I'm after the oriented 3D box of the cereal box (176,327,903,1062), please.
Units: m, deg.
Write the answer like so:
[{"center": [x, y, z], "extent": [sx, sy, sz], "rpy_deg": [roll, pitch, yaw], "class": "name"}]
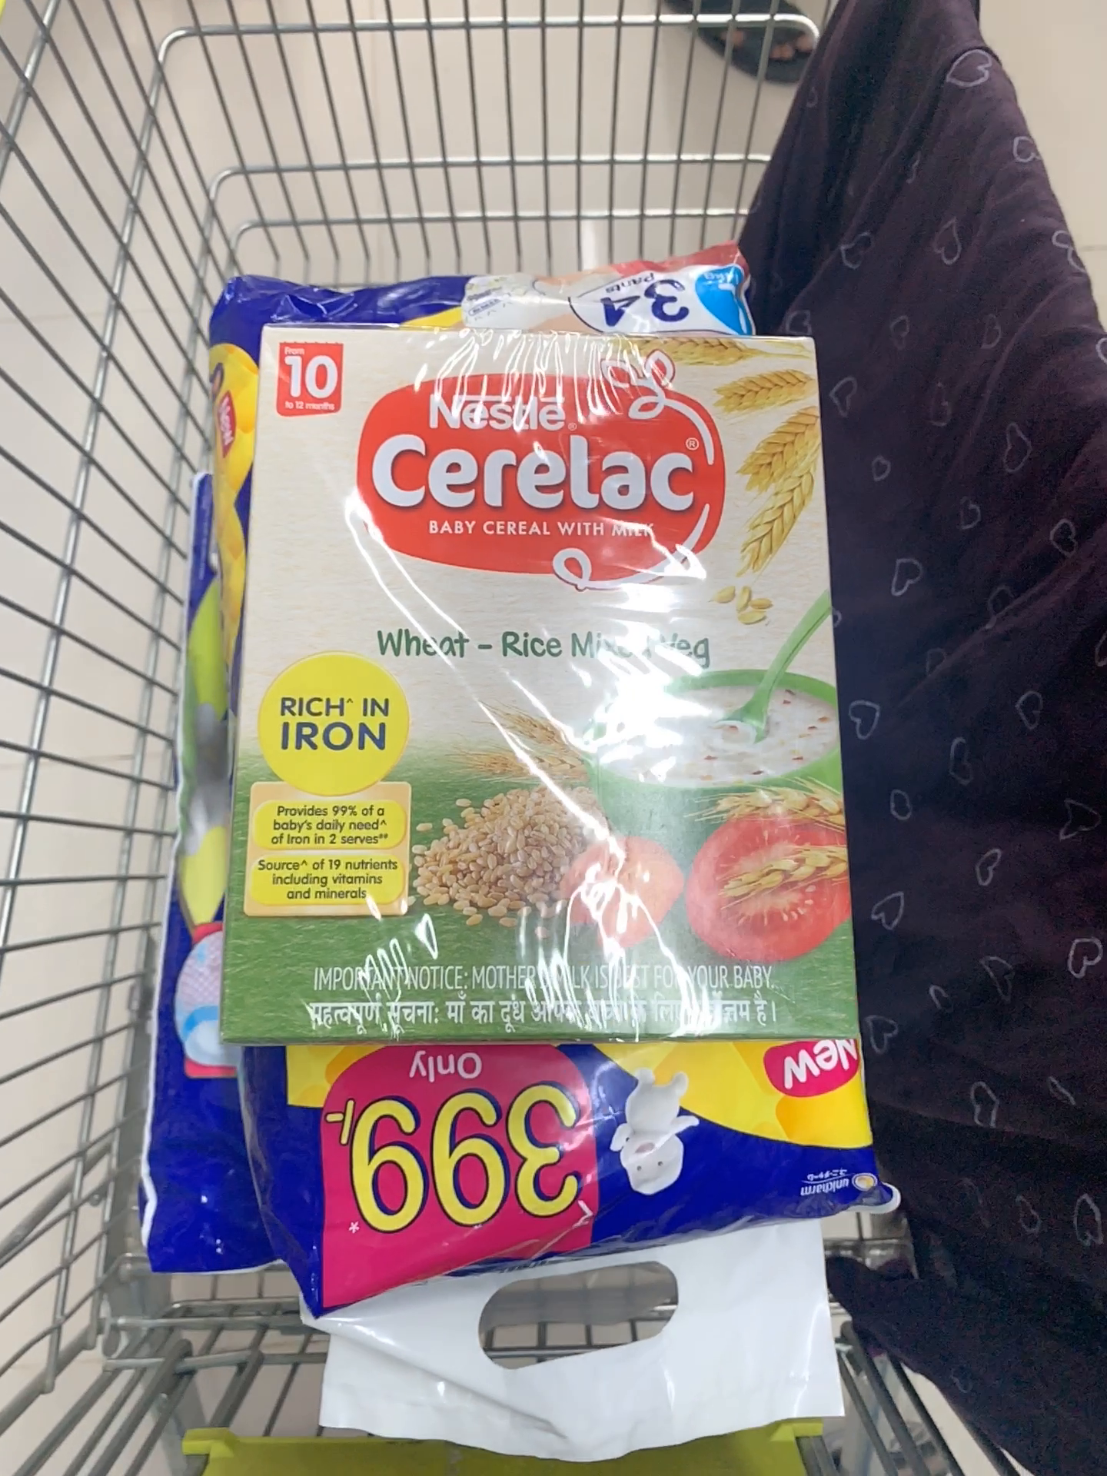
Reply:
[{"center": [-0.004, -0.011, 0.297], "extent": [0.160, 0.050, 0.180], "rpy_deg": [0, 76, -3], "class": "cereal box"}]
